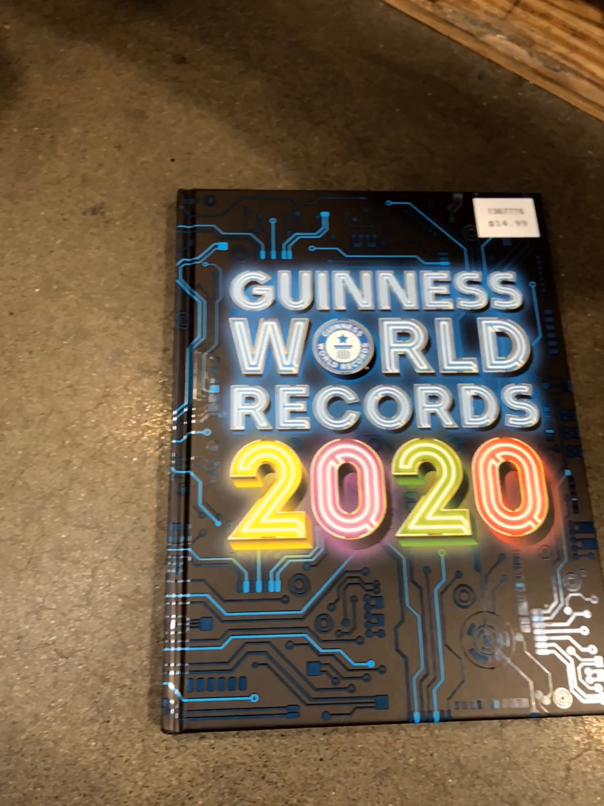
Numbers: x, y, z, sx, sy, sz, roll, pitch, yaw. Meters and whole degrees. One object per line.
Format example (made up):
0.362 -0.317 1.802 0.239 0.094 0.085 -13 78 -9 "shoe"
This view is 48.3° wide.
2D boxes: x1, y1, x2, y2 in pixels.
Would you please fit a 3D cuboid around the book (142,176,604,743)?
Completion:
0.040 0.013 0.384 0.240 0.030 0.312 -1 71 -4 "book"
